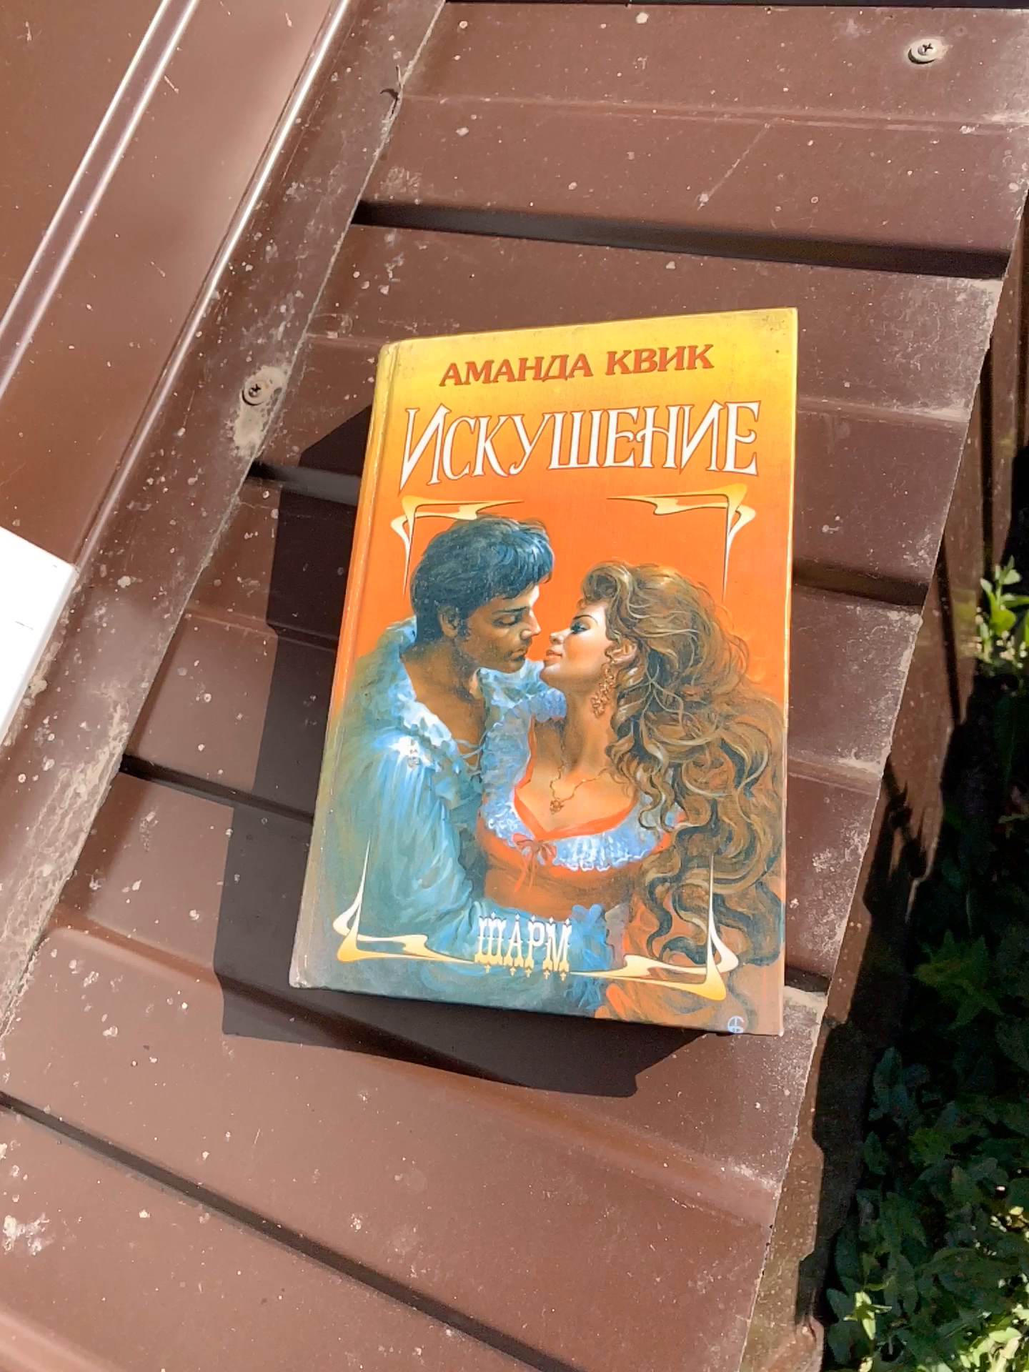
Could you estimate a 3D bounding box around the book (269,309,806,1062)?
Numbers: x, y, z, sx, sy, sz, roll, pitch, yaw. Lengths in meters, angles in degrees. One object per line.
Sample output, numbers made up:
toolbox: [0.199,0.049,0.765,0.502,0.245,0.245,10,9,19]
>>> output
book: [0.011,-0.007,0.303,0.134,0.024,0.200,1,75,17]
